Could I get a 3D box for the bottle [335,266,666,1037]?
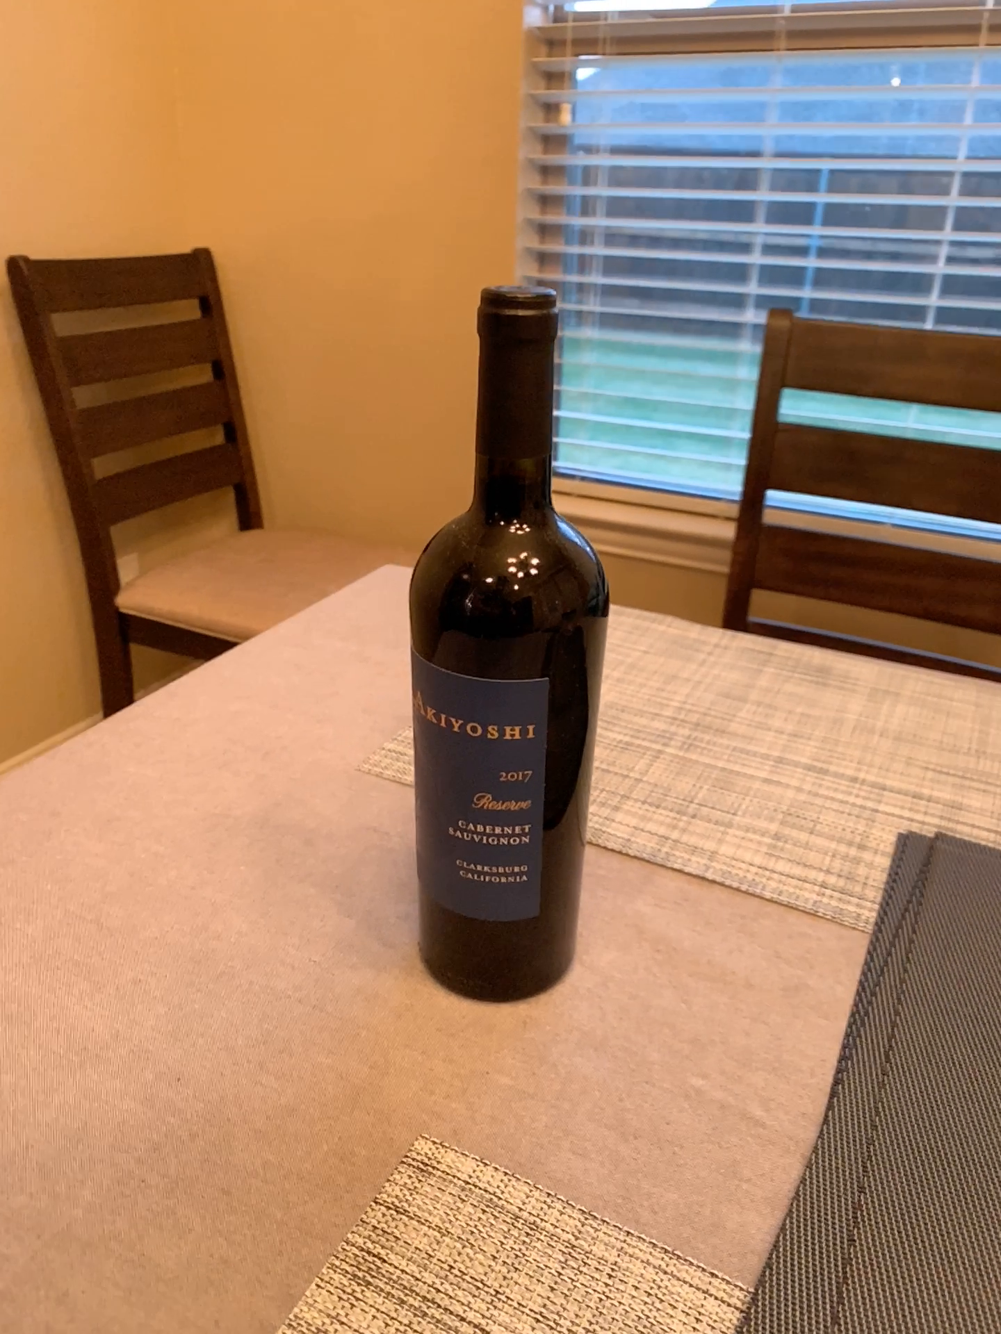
[{"bbox_3d":[-0.001,-0.004,0.432,0.090,0.299,0.090,2,24,-1],"label":"bottle"}]
